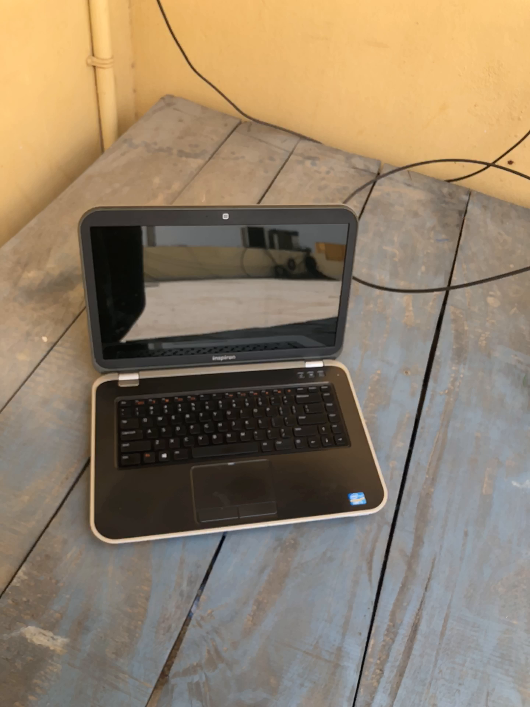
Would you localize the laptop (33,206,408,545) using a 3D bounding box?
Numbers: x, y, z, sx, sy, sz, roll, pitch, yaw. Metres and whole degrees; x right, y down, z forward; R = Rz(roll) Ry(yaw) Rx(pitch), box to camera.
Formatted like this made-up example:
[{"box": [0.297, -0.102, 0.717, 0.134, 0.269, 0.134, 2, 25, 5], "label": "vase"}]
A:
[{"box": [-0.070, 0.011, 0.732, 0.352, 0.209, 0.334, -4, 51, -10], "label": "laptop"}]
